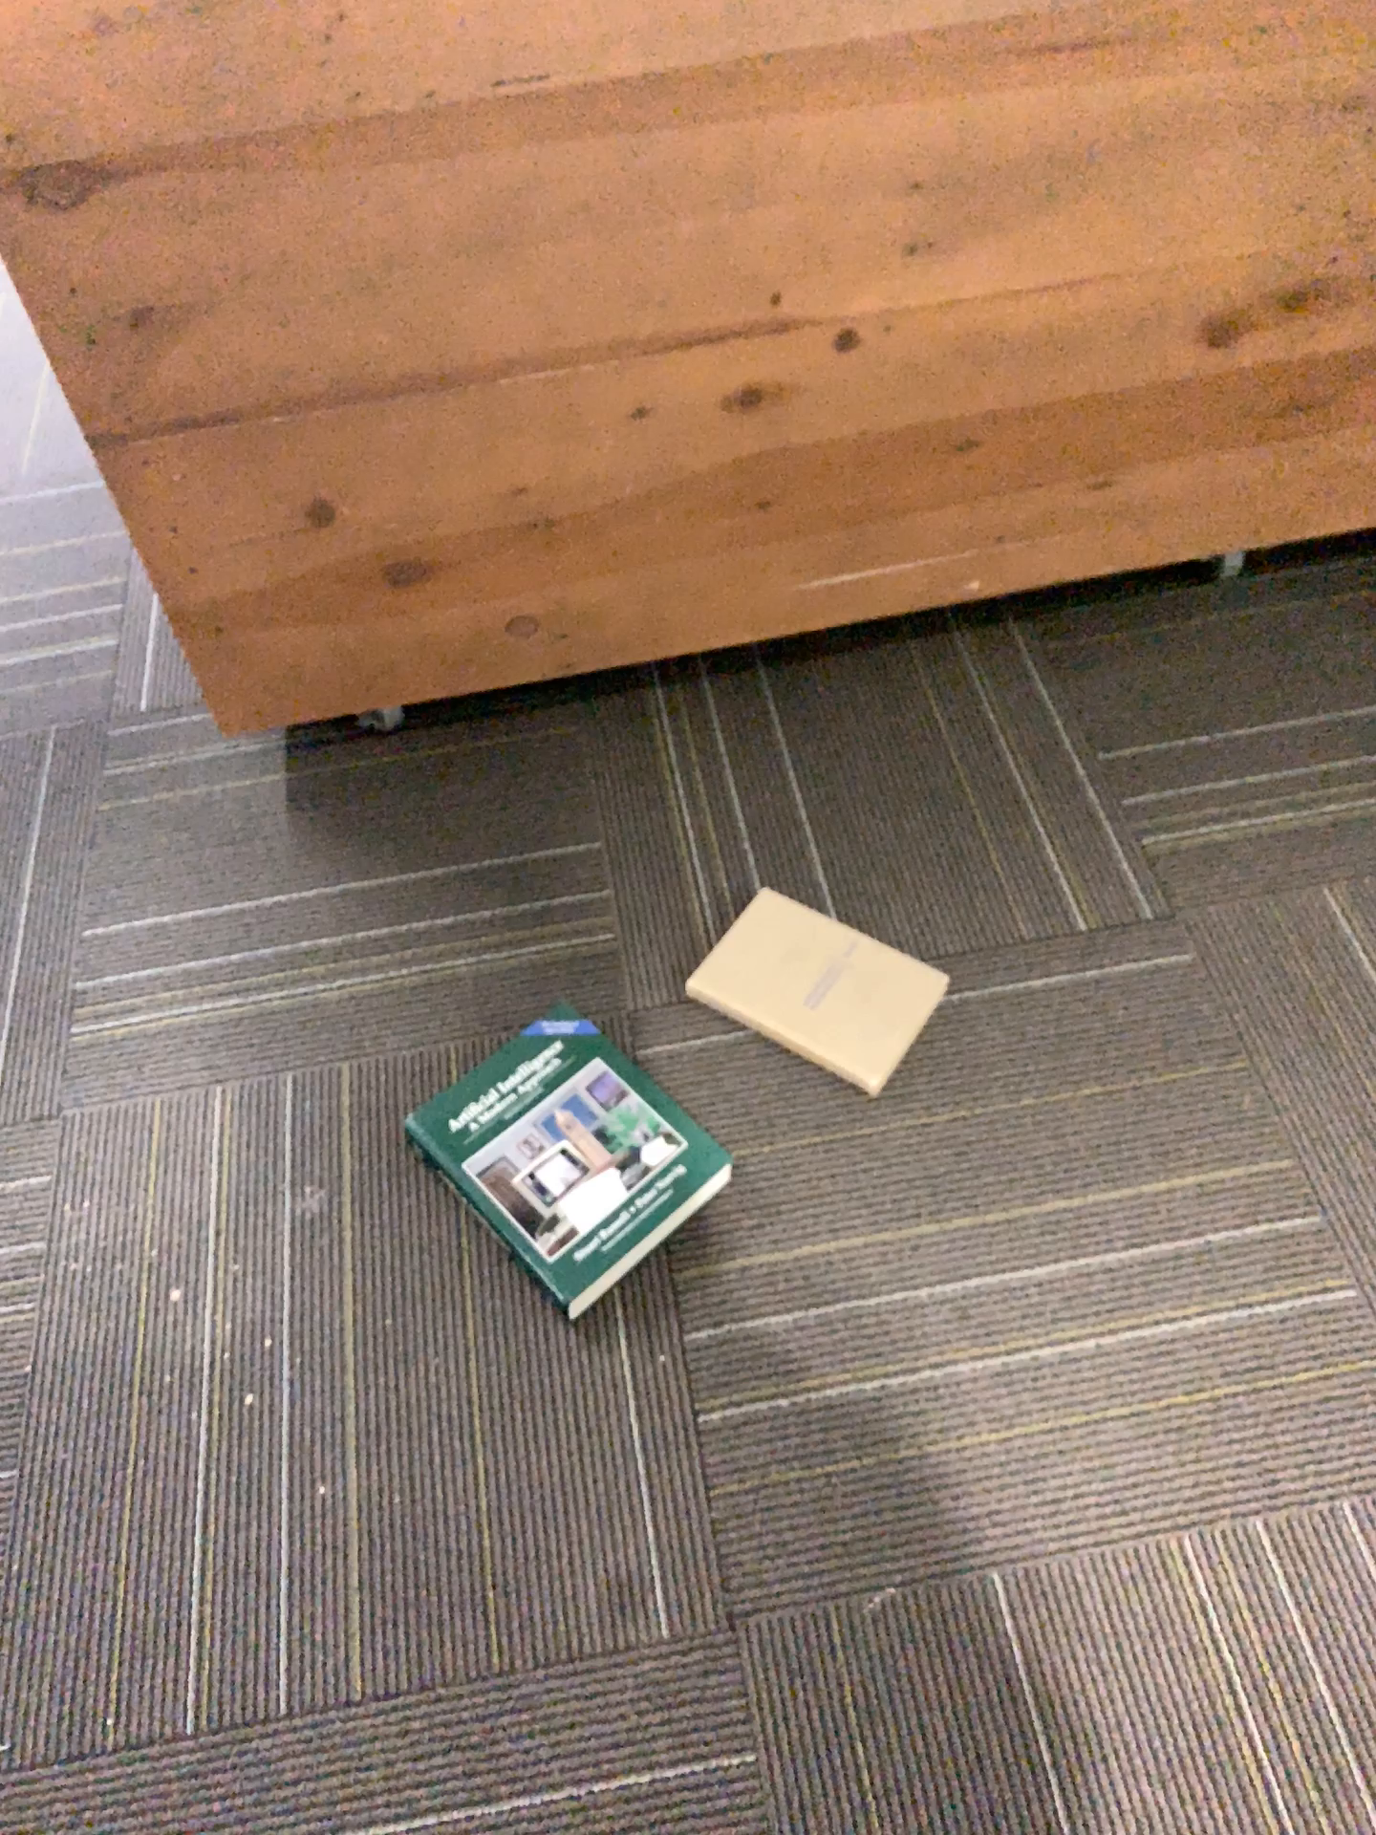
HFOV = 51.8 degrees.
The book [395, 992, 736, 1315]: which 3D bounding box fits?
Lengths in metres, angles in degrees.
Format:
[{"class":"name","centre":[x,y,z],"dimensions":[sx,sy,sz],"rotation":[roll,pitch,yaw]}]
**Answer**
[{"class":"book","centre":[-0.120,0.217,1.370],"dimensions":[0.210,0.030,0.261],"rotation":[-38,58,-22]}]

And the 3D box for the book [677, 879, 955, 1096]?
[{"class":"book","centre":[0.133,0.067,1.486],"dimensions":[0.241,0.020,0.160],"rotation":[27,60,24]}]
